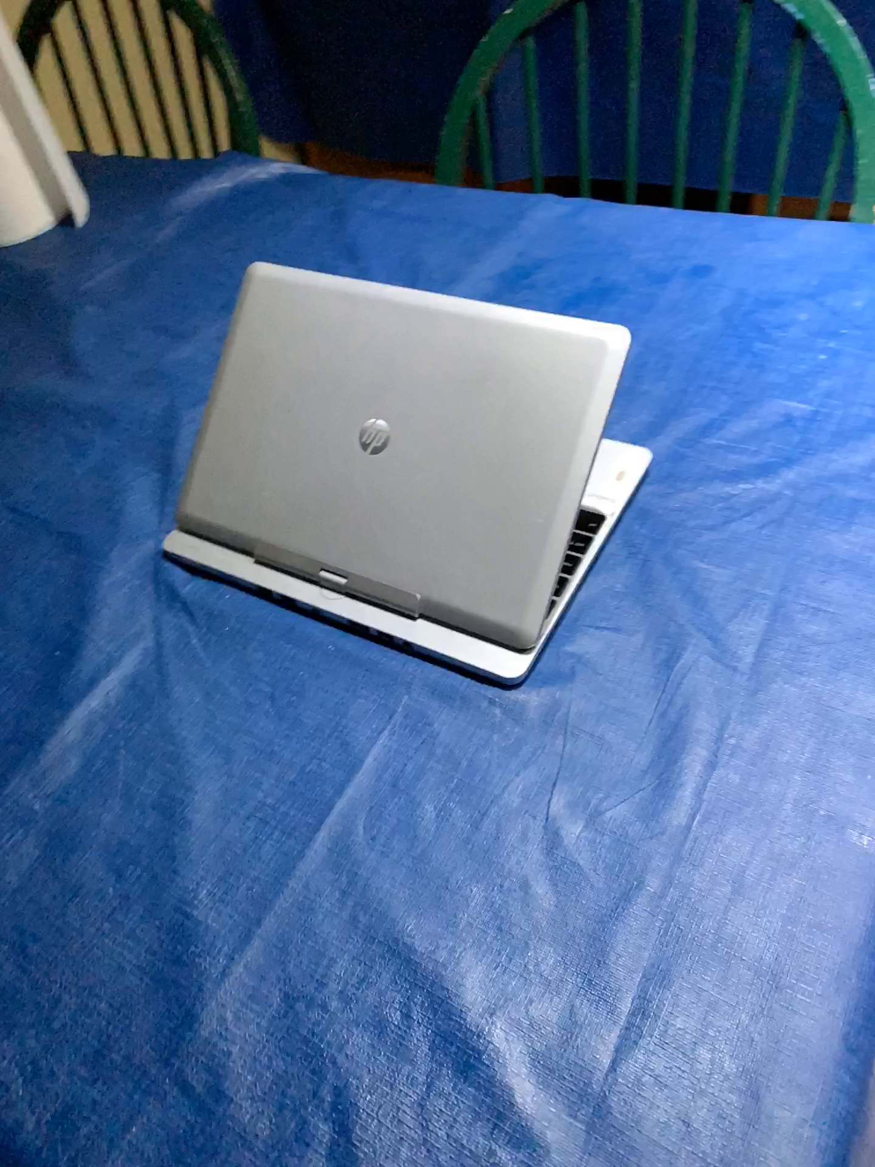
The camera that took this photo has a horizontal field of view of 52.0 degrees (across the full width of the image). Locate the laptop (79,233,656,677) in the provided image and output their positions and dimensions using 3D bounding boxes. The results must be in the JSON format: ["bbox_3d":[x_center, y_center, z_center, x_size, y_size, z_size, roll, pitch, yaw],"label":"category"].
[{"bbox_3d":[-0.034,-0.100,0.578,0.280,0.122,0.208,19,55,26],"label":"laptop"}]
